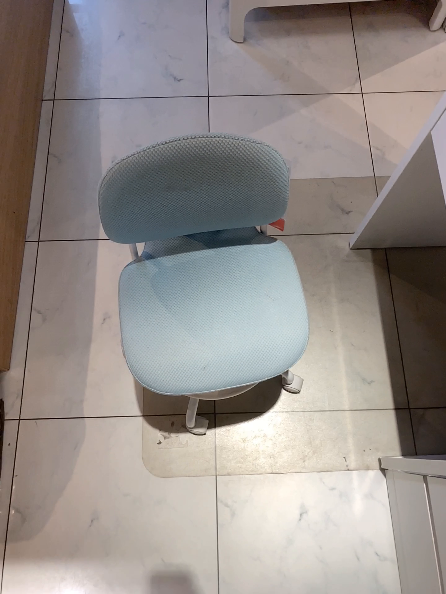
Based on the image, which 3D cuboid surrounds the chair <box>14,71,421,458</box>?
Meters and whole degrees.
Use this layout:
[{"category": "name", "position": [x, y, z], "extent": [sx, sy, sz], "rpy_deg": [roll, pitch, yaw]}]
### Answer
[{"category": "chair", "position": [-0.044, 0.009, 1.116], "extent": [0.600, 0.720, 0.620], "rpy_deg": [-9, 72, -3]}]
